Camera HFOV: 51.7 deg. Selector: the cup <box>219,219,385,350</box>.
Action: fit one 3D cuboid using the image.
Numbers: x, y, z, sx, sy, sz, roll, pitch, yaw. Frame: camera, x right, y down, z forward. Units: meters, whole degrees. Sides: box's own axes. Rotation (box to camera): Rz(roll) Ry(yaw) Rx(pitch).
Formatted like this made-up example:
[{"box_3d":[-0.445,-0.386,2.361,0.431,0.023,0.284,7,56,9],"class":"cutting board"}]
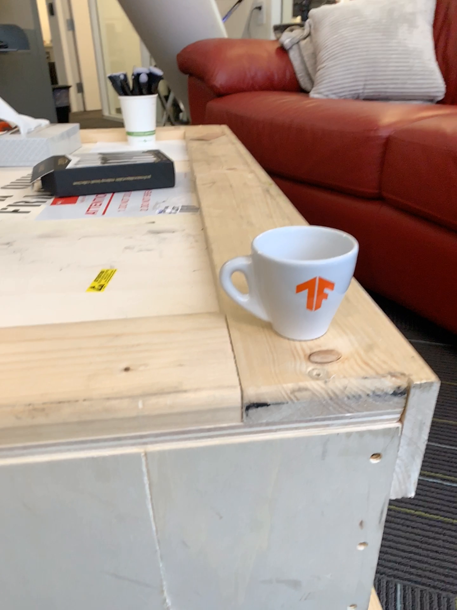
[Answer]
[{"box_3d":[0.041,-0.015,0.303,0.090,0.060,0.060,-3,28,-4],"class":"cup"}]
